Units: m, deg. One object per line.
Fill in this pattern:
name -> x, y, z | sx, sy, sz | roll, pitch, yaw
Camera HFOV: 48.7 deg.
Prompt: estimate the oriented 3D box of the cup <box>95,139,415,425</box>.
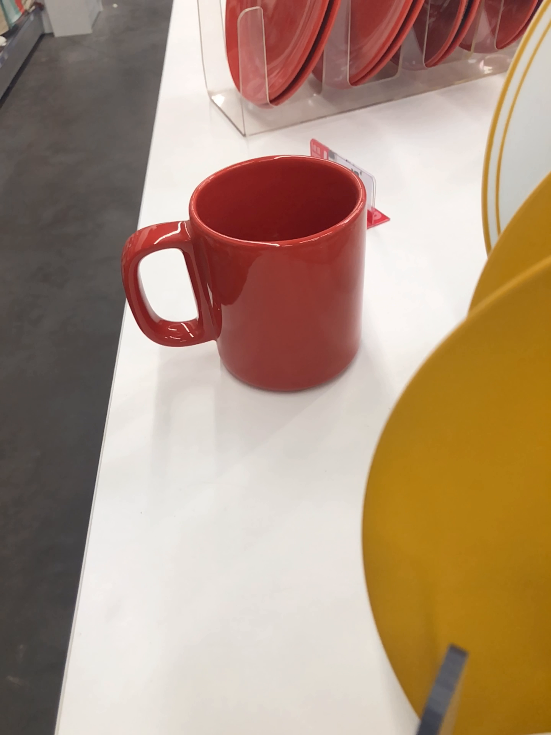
cup -> -0.012, -0.045, 0.303 | 0.129, 0.082, 0.091 | -11, 44, -5
